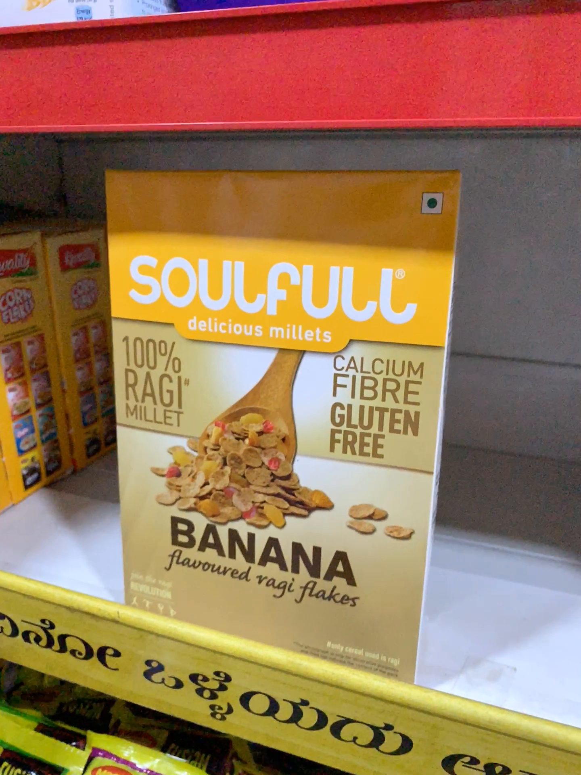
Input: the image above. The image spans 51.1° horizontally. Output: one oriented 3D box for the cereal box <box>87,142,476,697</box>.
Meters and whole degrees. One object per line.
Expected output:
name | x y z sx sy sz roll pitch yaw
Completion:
cereal box | -0.006 0.009 0.293 0.160 0.229 0.060 6 14 18
